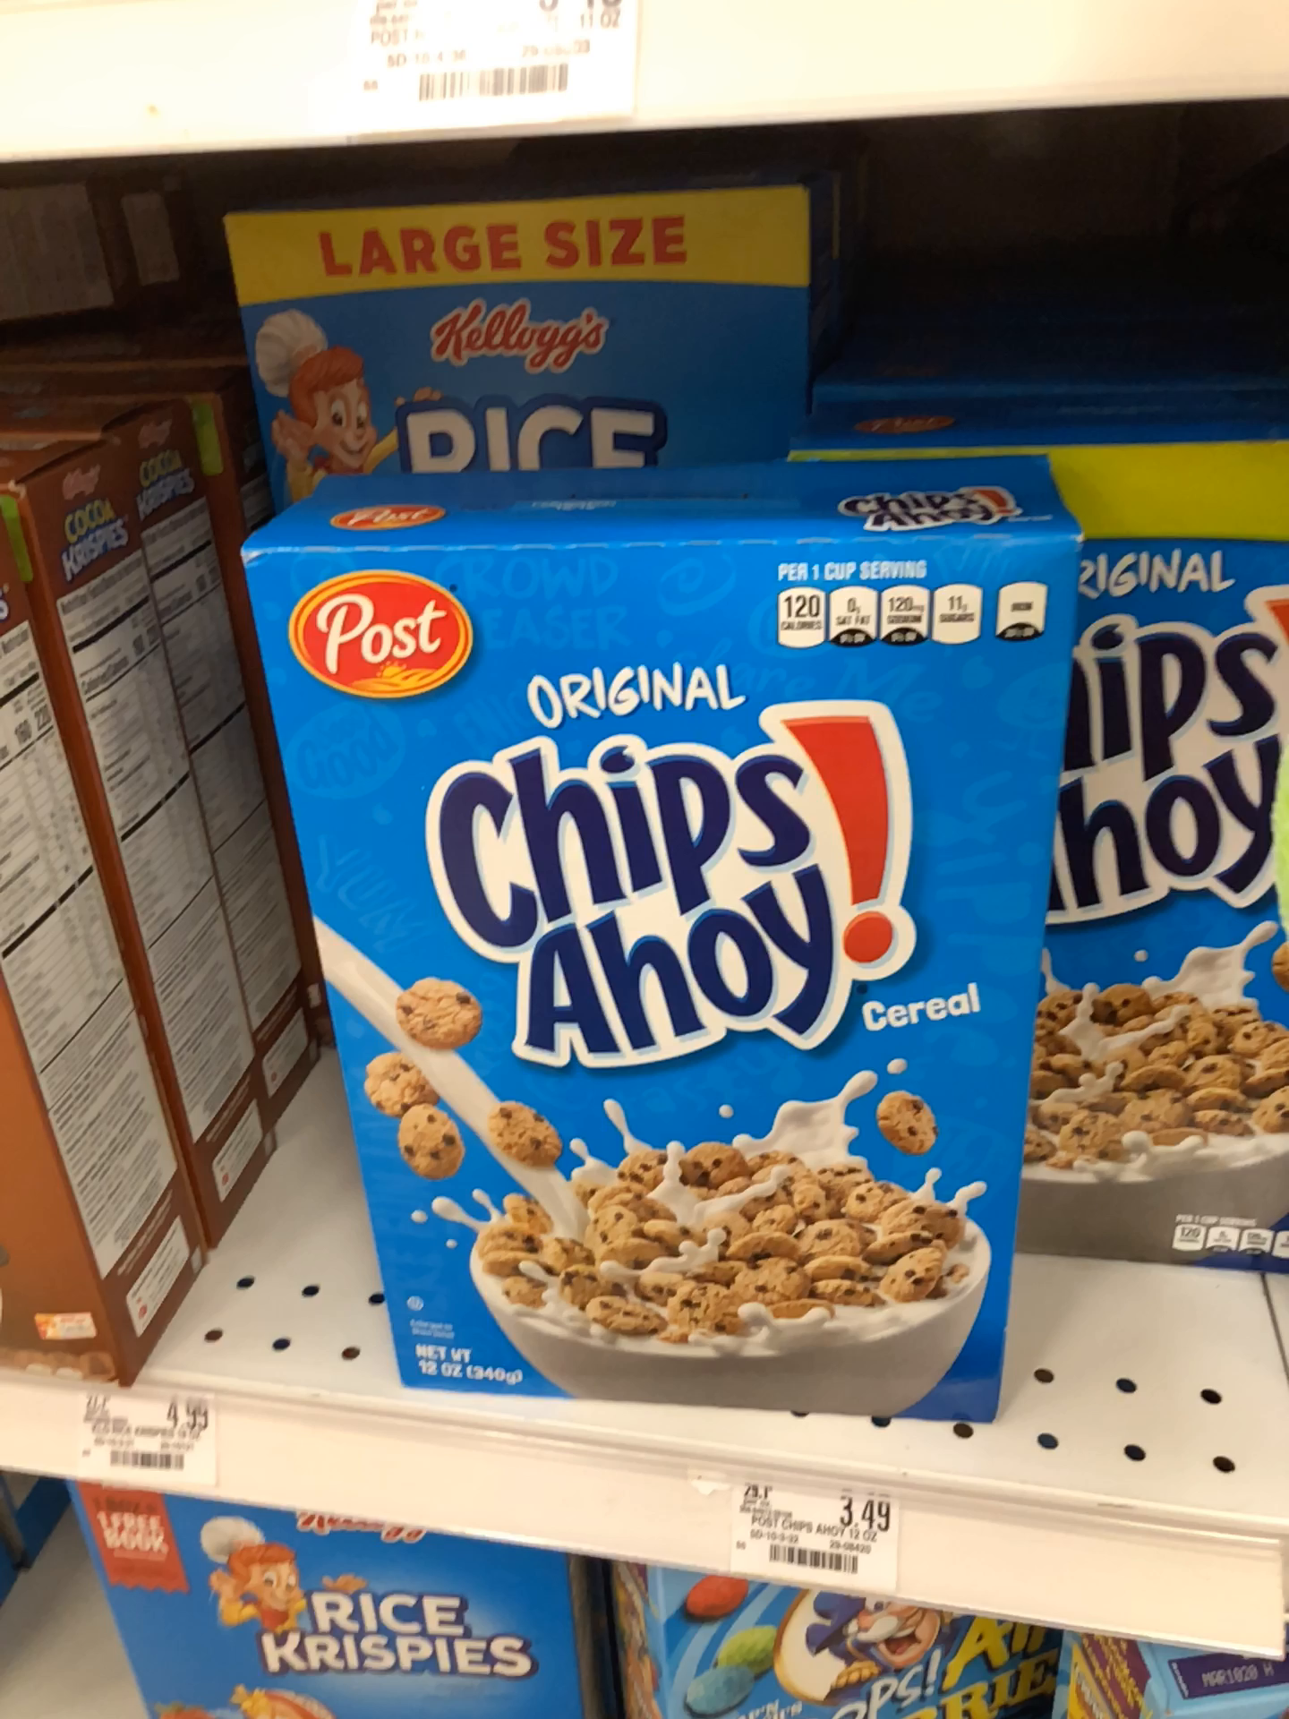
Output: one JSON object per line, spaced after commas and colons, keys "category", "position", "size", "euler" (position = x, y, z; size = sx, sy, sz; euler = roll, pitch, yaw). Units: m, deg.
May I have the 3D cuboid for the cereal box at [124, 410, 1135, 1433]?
{"category": "cereal box", "position": [0.005, 0.026, 0.379], "size": [0.200, 0.259, 0.080], "euler": [0, 30, 7]}
